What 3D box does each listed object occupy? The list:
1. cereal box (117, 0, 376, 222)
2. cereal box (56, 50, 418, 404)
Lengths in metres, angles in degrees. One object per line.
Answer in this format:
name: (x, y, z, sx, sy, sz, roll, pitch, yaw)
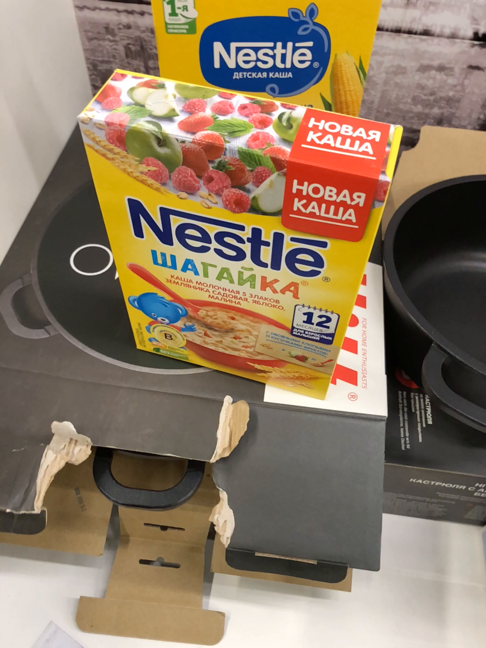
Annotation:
cereal box: (0.001, -0.174, 0.427, 0.160, 0.199, 0.050, -1, 54, -1)
cereal box: (-0.003, -0.043, 0.328, 0.160, 0.199, 0.050, 15, 54, 11)
